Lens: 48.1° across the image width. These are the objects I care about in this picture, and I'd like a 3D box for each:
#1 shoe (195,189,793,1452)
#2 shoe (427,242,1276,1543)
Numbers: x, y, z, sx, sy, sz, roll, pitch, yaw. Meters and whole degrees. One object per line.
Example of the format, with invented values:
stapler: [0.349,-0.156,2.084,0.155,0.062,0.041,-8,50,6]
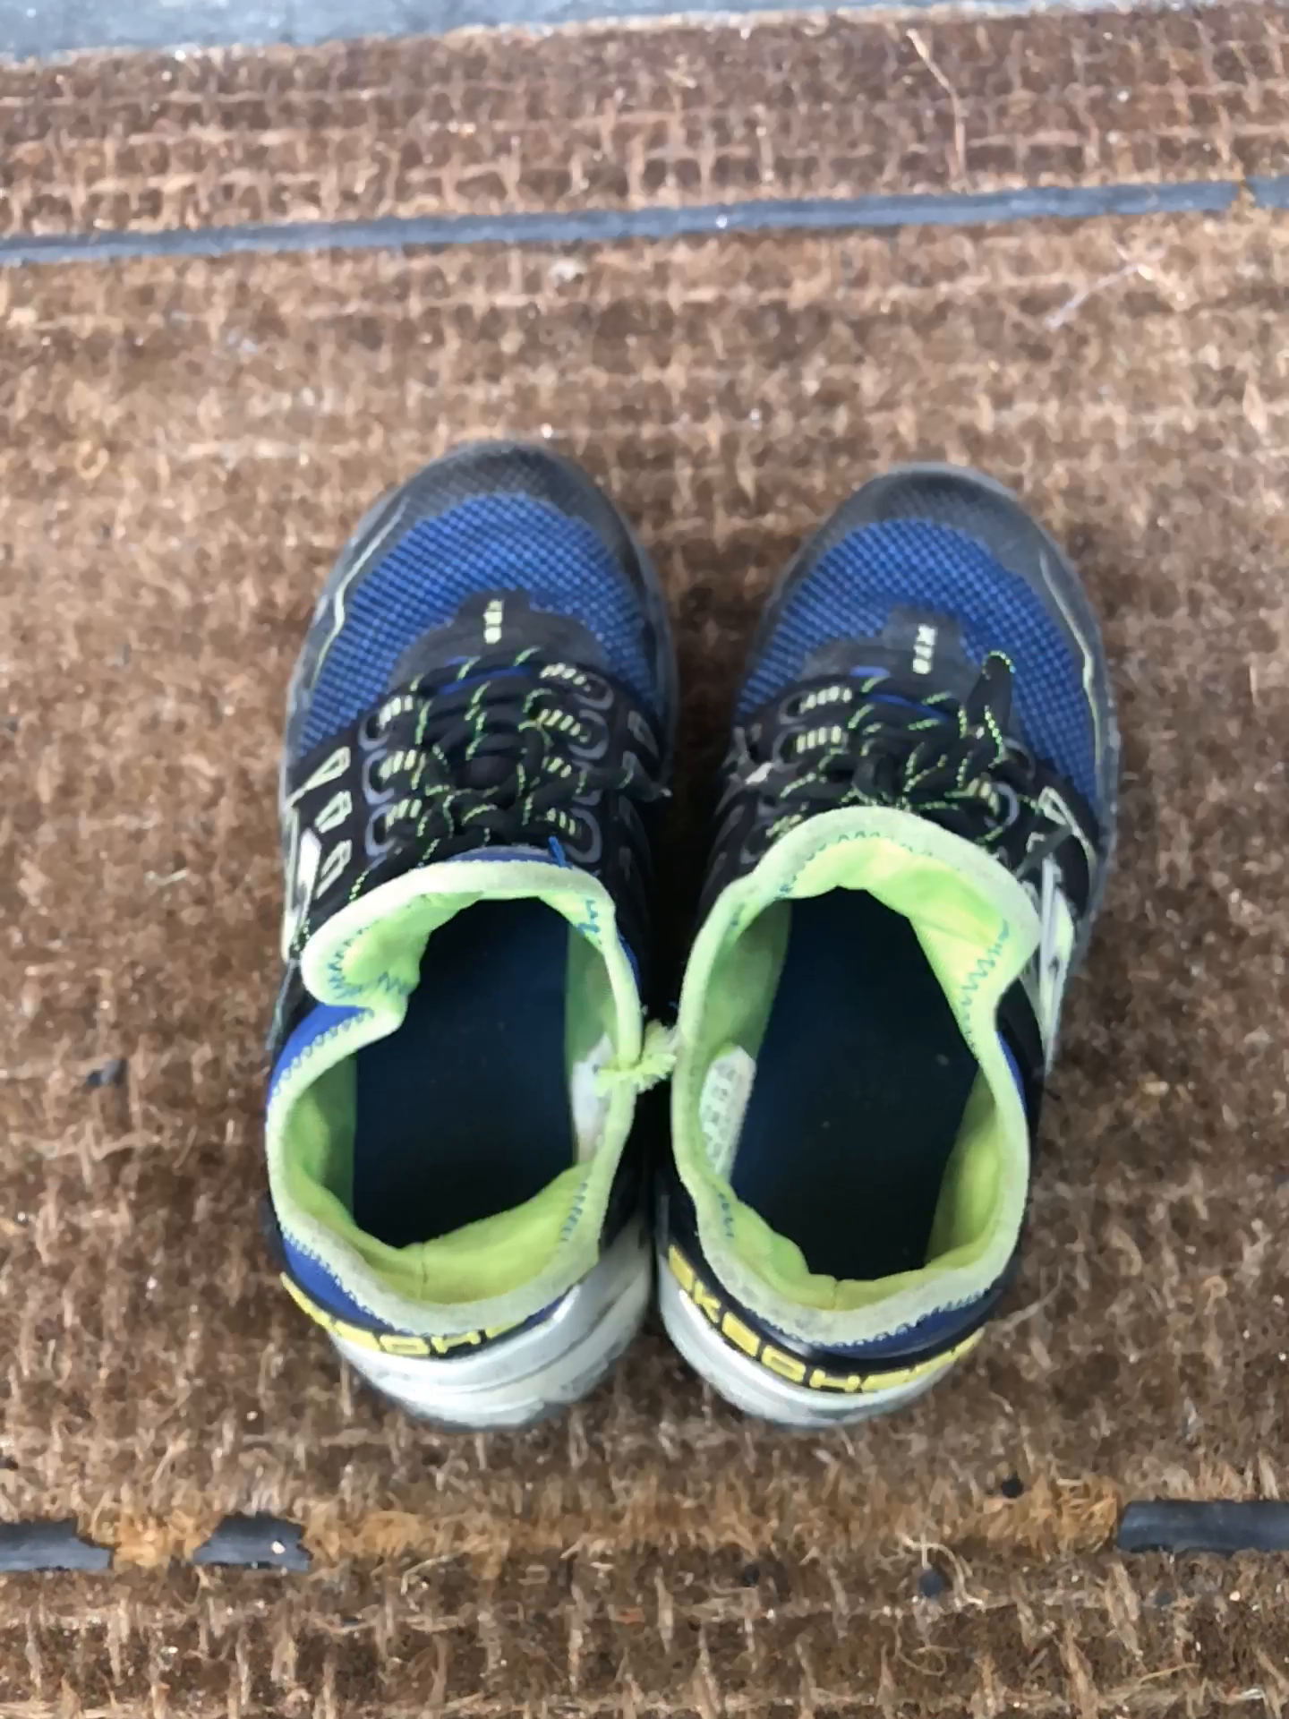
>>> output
shoe: [-0.032,-0.007,0.302,0.090,0.100,0.231,-6,70,1]
shoe: [0.043,0.005,0.275,0.090,0.100,0.200,14,72,8]
